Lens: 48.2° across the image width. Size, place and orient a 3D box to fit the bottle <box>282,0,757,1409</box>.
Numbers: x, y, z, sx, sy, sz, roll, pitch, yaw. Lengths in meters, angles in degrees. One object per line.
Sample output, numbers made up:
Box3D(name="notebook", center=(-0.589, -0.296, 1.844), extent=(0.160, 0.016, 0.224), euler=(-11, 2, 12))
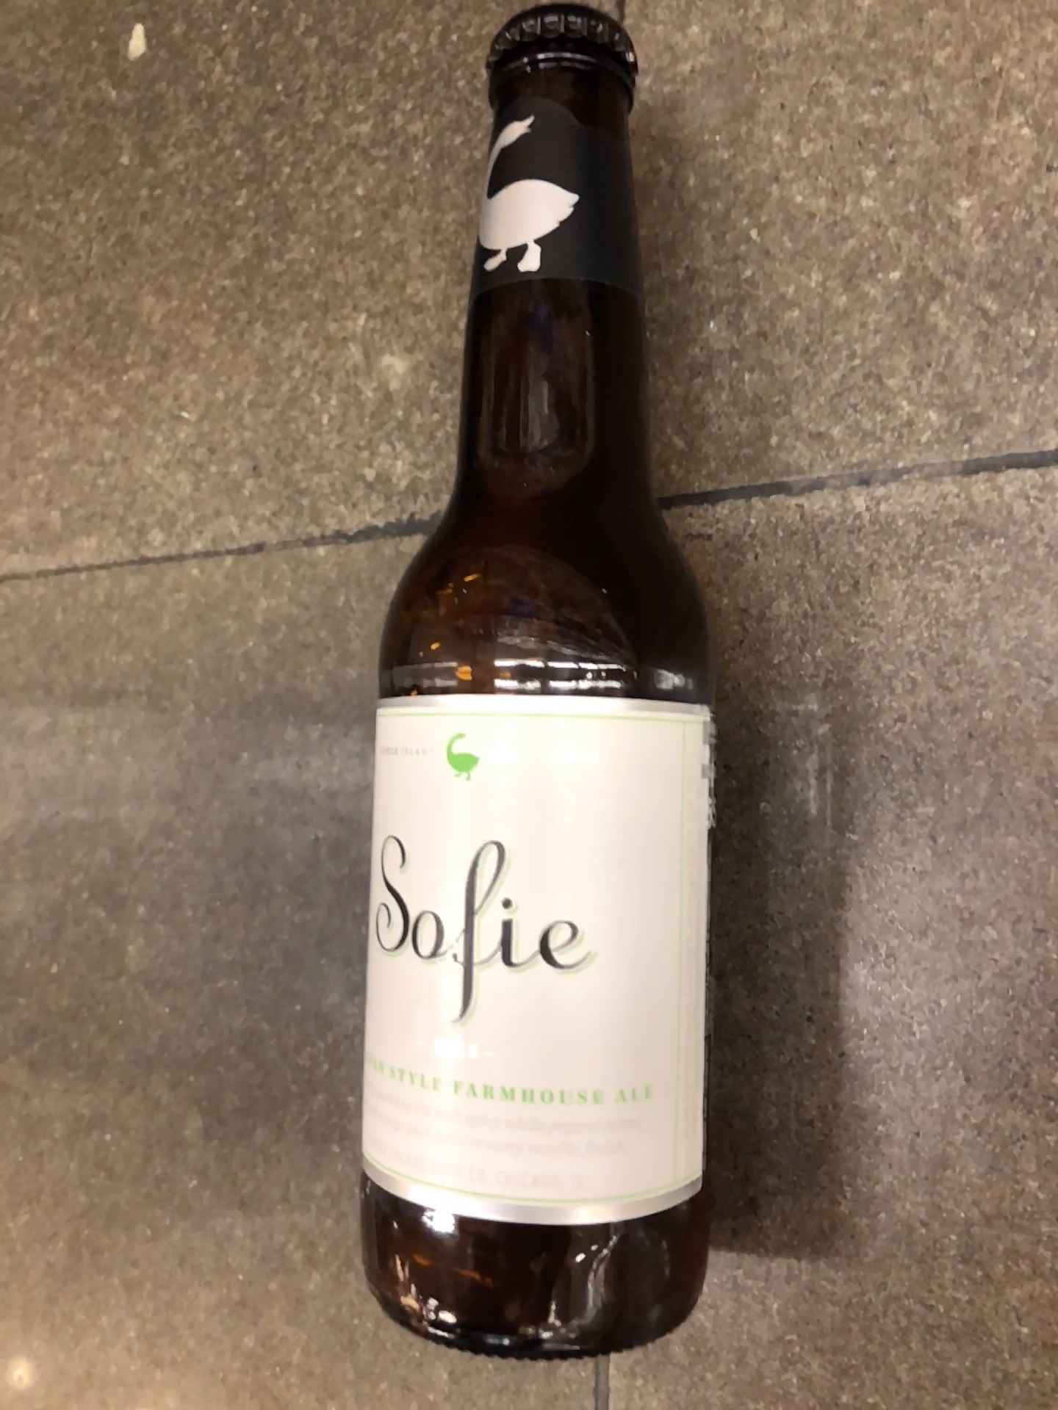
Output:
Box3D(name="bottle", center=(-0.001, -0.014, 0.210), extent=(0.070, 0.040, 0.240), euler=(-2, 85, 33))
